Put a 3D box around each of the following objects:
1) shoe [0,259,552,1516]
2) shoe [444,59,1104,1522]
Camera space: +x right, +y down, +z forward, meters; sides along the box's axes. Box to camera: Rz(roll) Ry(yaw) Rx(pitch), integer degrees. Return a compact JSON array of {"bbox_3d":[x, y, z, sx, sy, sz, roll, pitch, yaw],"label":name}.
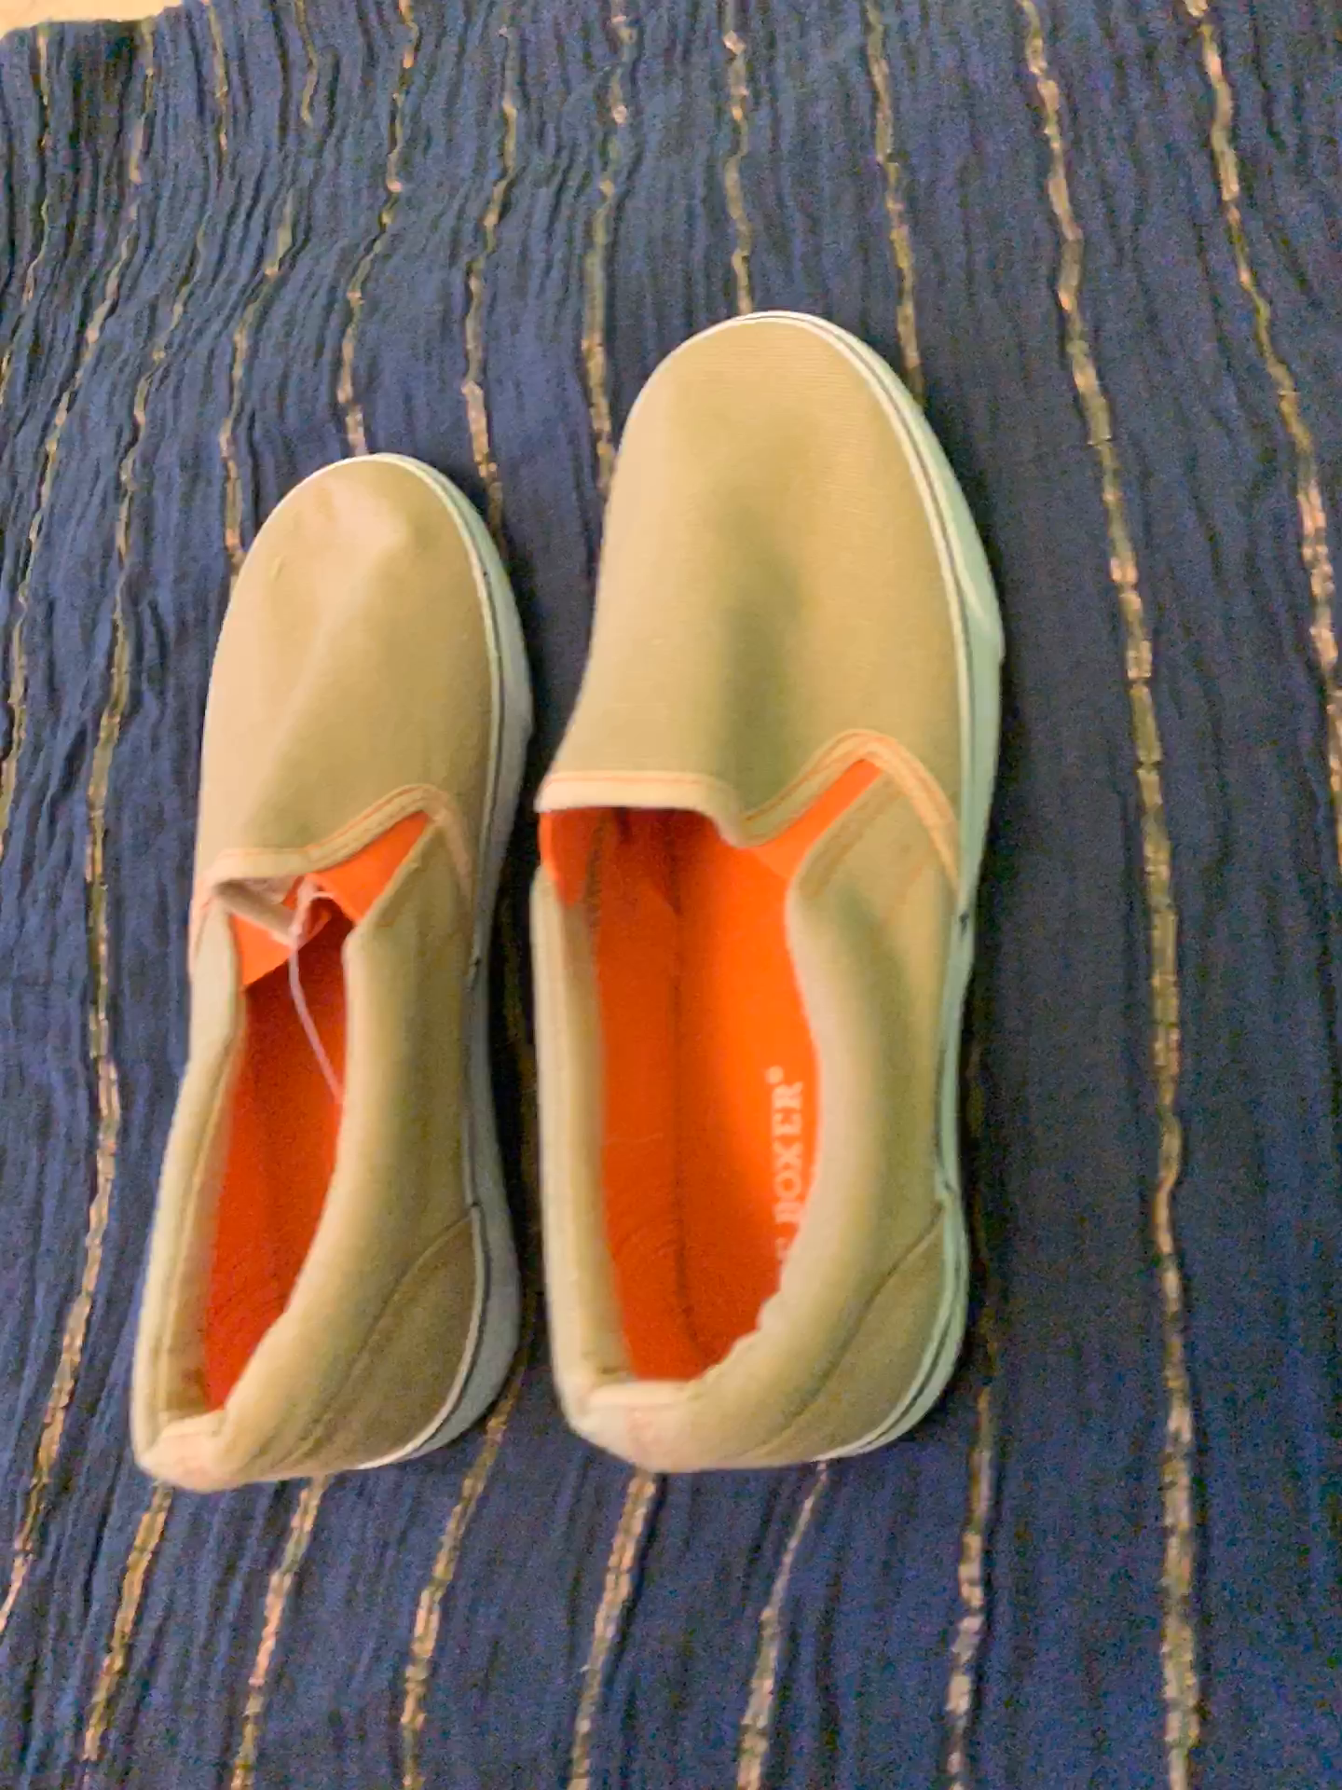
[{"bbox_3d":[-0.089,-0.003,0.328,0.096,0.079,0.263,-8,71,21],"label":"shoe"},{"bbox_3d":[0.021,-0.023,0.293,0.100,0.079,0.271,-8,72,22],"label":"shoe"}]
